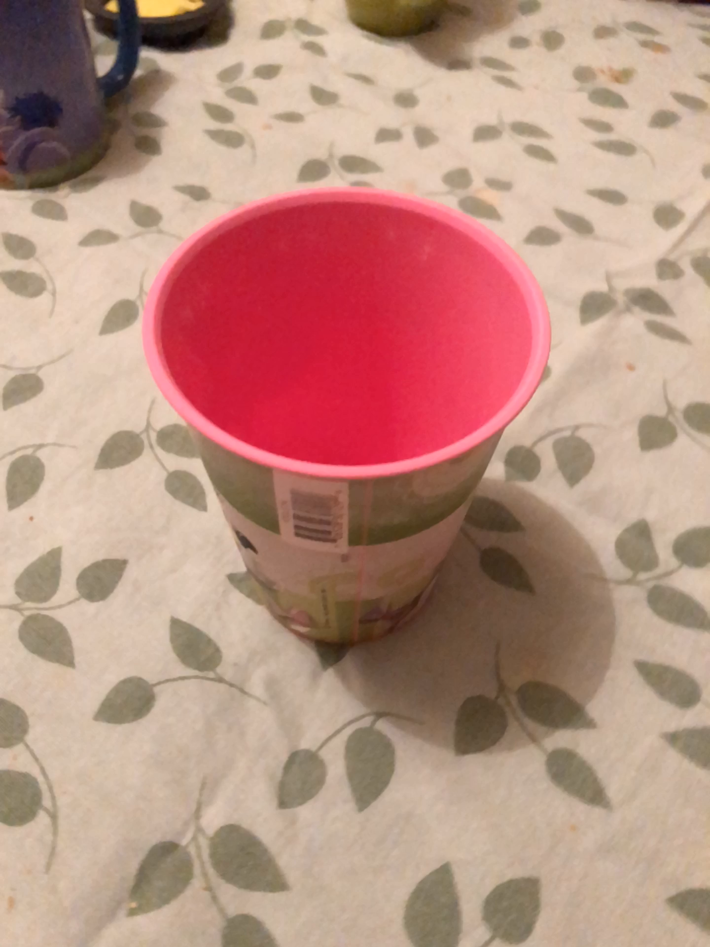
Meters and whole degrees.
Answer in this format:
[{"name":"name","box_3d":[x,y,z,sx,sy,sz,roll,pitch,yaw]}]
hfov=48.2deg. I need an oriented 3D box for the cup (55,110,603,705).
[{"name":"cup","box_3d":[0.000,-0.012,0.221,0.100,0.119,0.101,1,55,-1]}]
